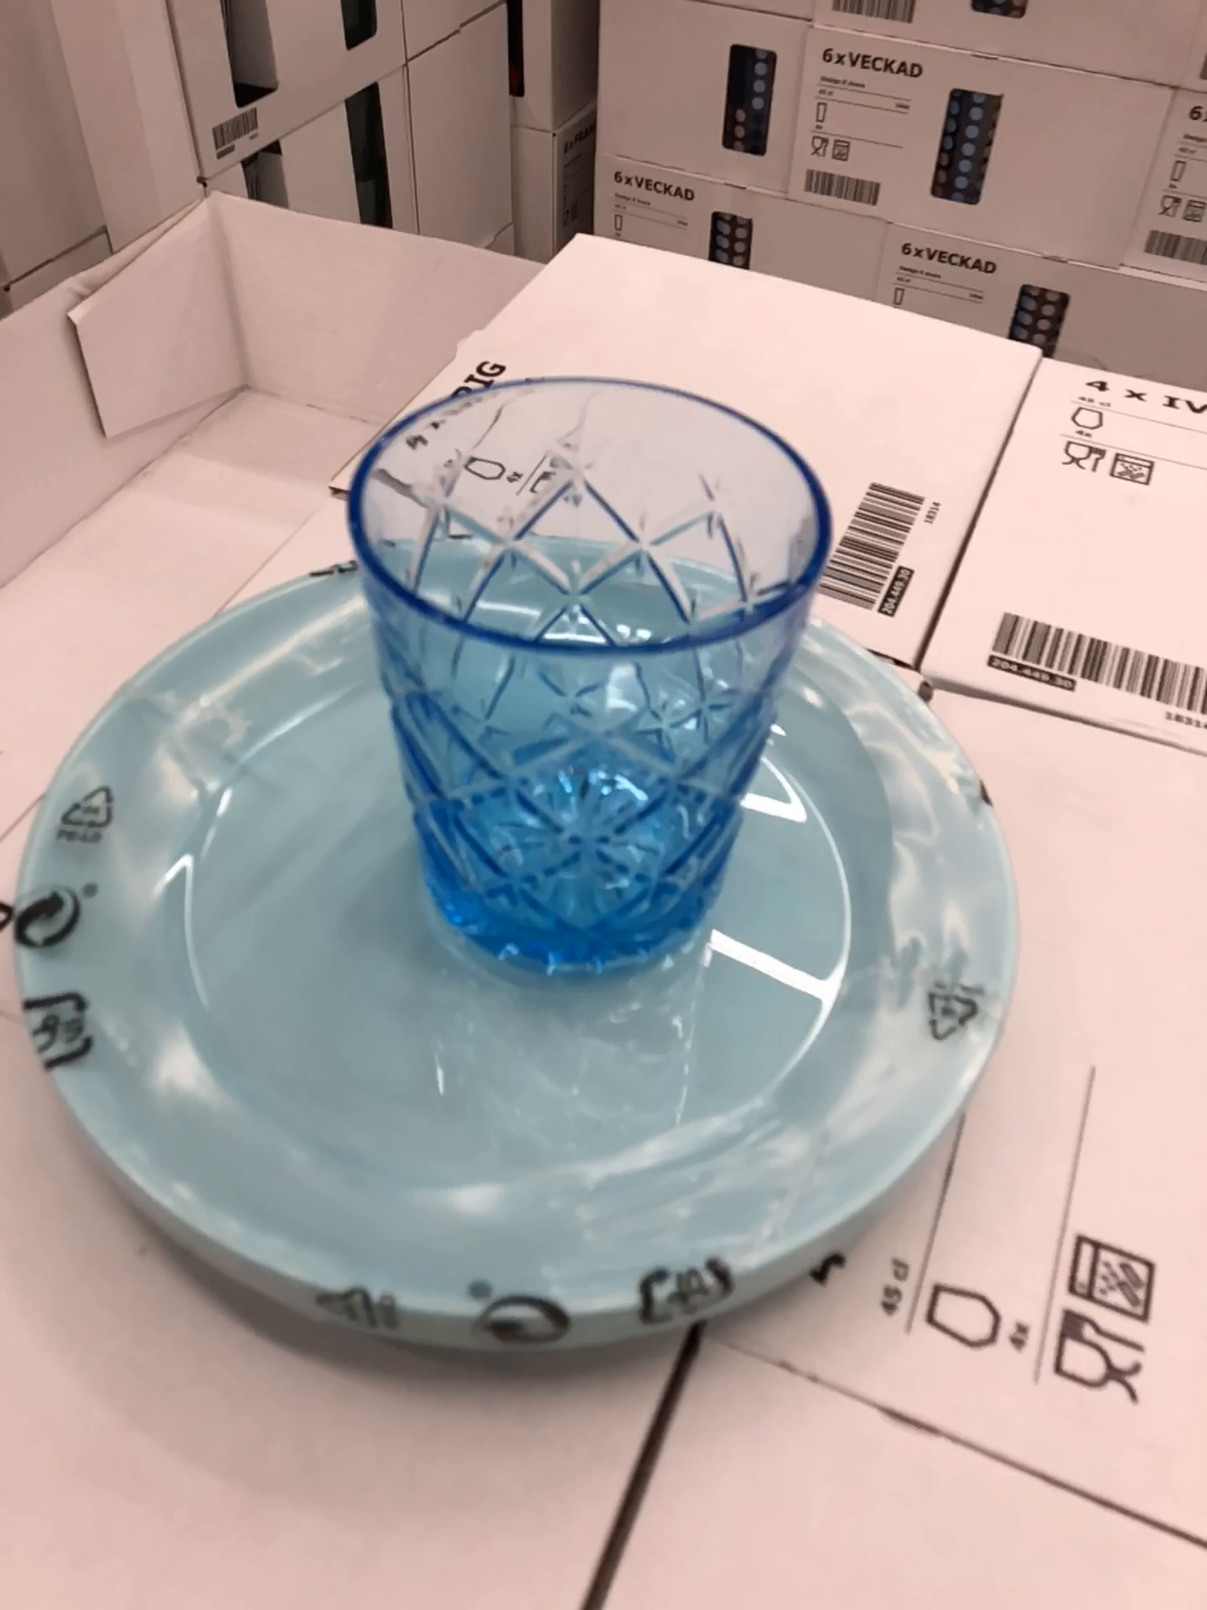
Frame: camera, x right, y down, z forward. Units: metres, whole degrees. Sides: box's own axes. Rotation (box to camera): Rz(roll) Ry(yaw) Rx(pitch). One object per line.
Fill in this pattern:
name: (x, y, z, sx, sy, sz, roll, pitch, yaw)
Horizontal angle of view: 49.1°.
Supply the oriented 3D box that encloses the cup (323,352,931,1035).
cup: (0.001, -0.021, 0.263, 0.090, 0.100, 0.090, 1, 46, -1)
